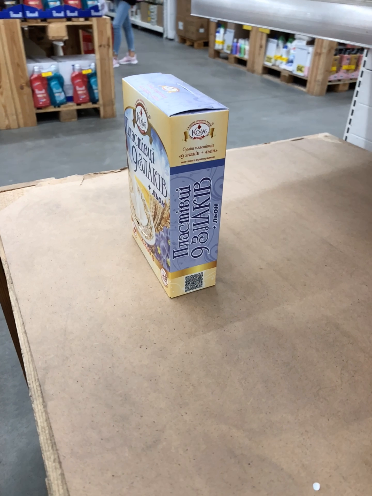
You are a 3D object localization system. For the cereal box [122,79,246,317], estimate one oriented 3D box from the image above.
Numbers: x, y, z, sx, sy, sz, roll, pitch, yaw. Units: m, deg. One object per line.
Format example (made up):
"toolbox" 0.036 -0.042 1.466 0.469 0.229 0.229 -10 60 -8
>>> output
"cereal box" -0.015 -0.069 0.521 0.070 0.238 0.181 -13 36 -21
